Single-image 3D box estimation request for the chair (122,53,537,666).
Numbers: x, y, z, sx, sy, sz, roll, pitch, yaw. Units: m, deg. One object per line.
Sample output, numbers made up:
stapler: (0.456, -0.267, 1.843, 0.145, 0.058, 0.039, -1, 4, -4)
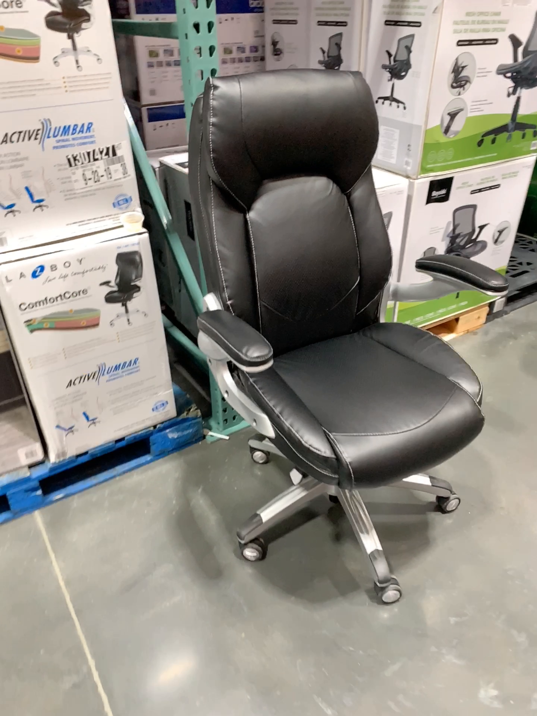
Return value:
chair: (0.191, -0.054, 1.320, 0.729, 1.128, 0.707, -17, 36, -23)
